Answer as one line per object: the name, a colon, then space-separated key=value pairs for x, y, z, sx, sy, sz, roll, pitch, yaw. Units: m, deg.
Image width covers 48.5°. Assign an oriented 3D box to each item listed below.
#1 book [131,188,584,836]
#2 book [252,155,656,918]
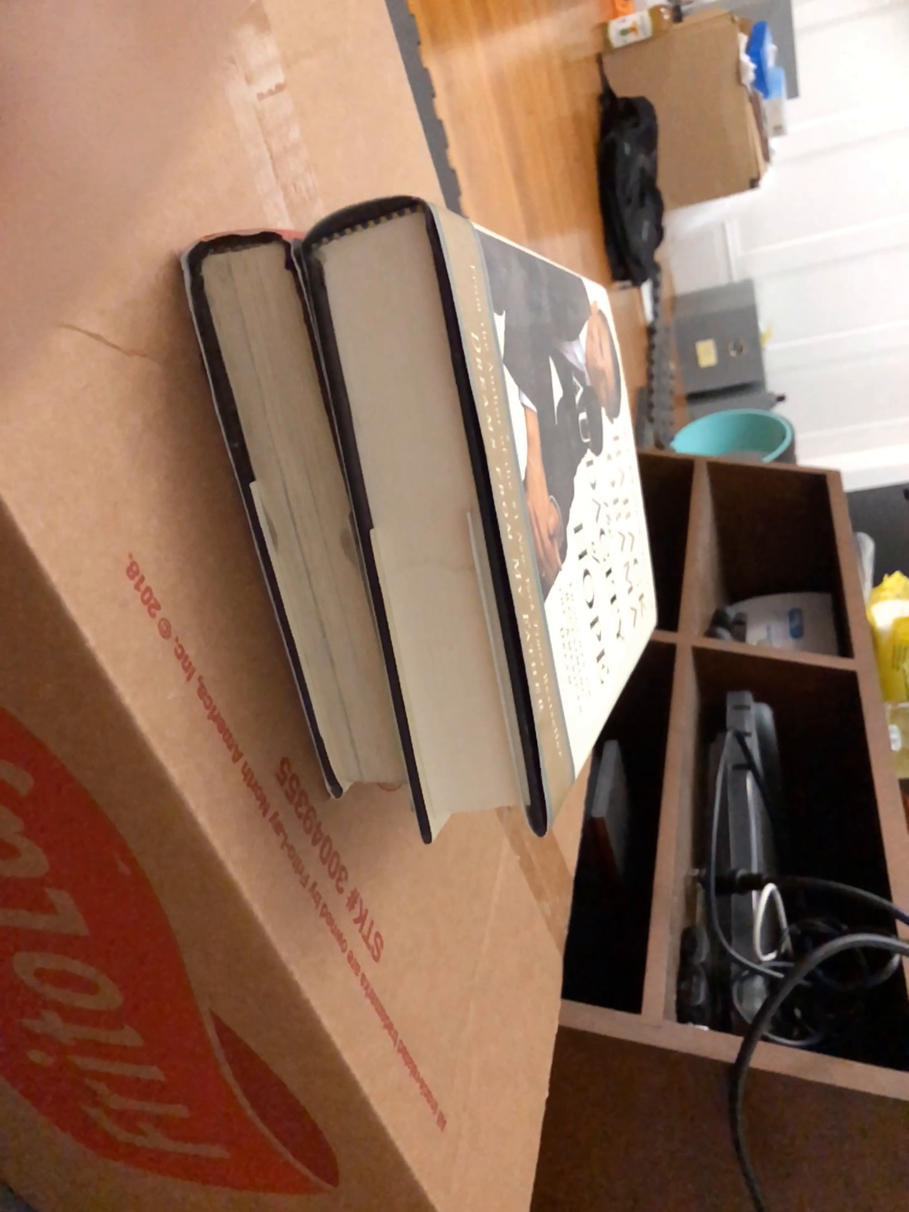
book: x=-0.007 y=-0.054 z=0.379 sx=0.251 sy=0.040 sz=0.170 roll=-47 pitch=127 yaw=-65
book: x=0.025 y=-0.035 z=0.371 sx=0.251 sy=0.040 sz=0.190 roll=-34 pitch=115 yaw=-68
